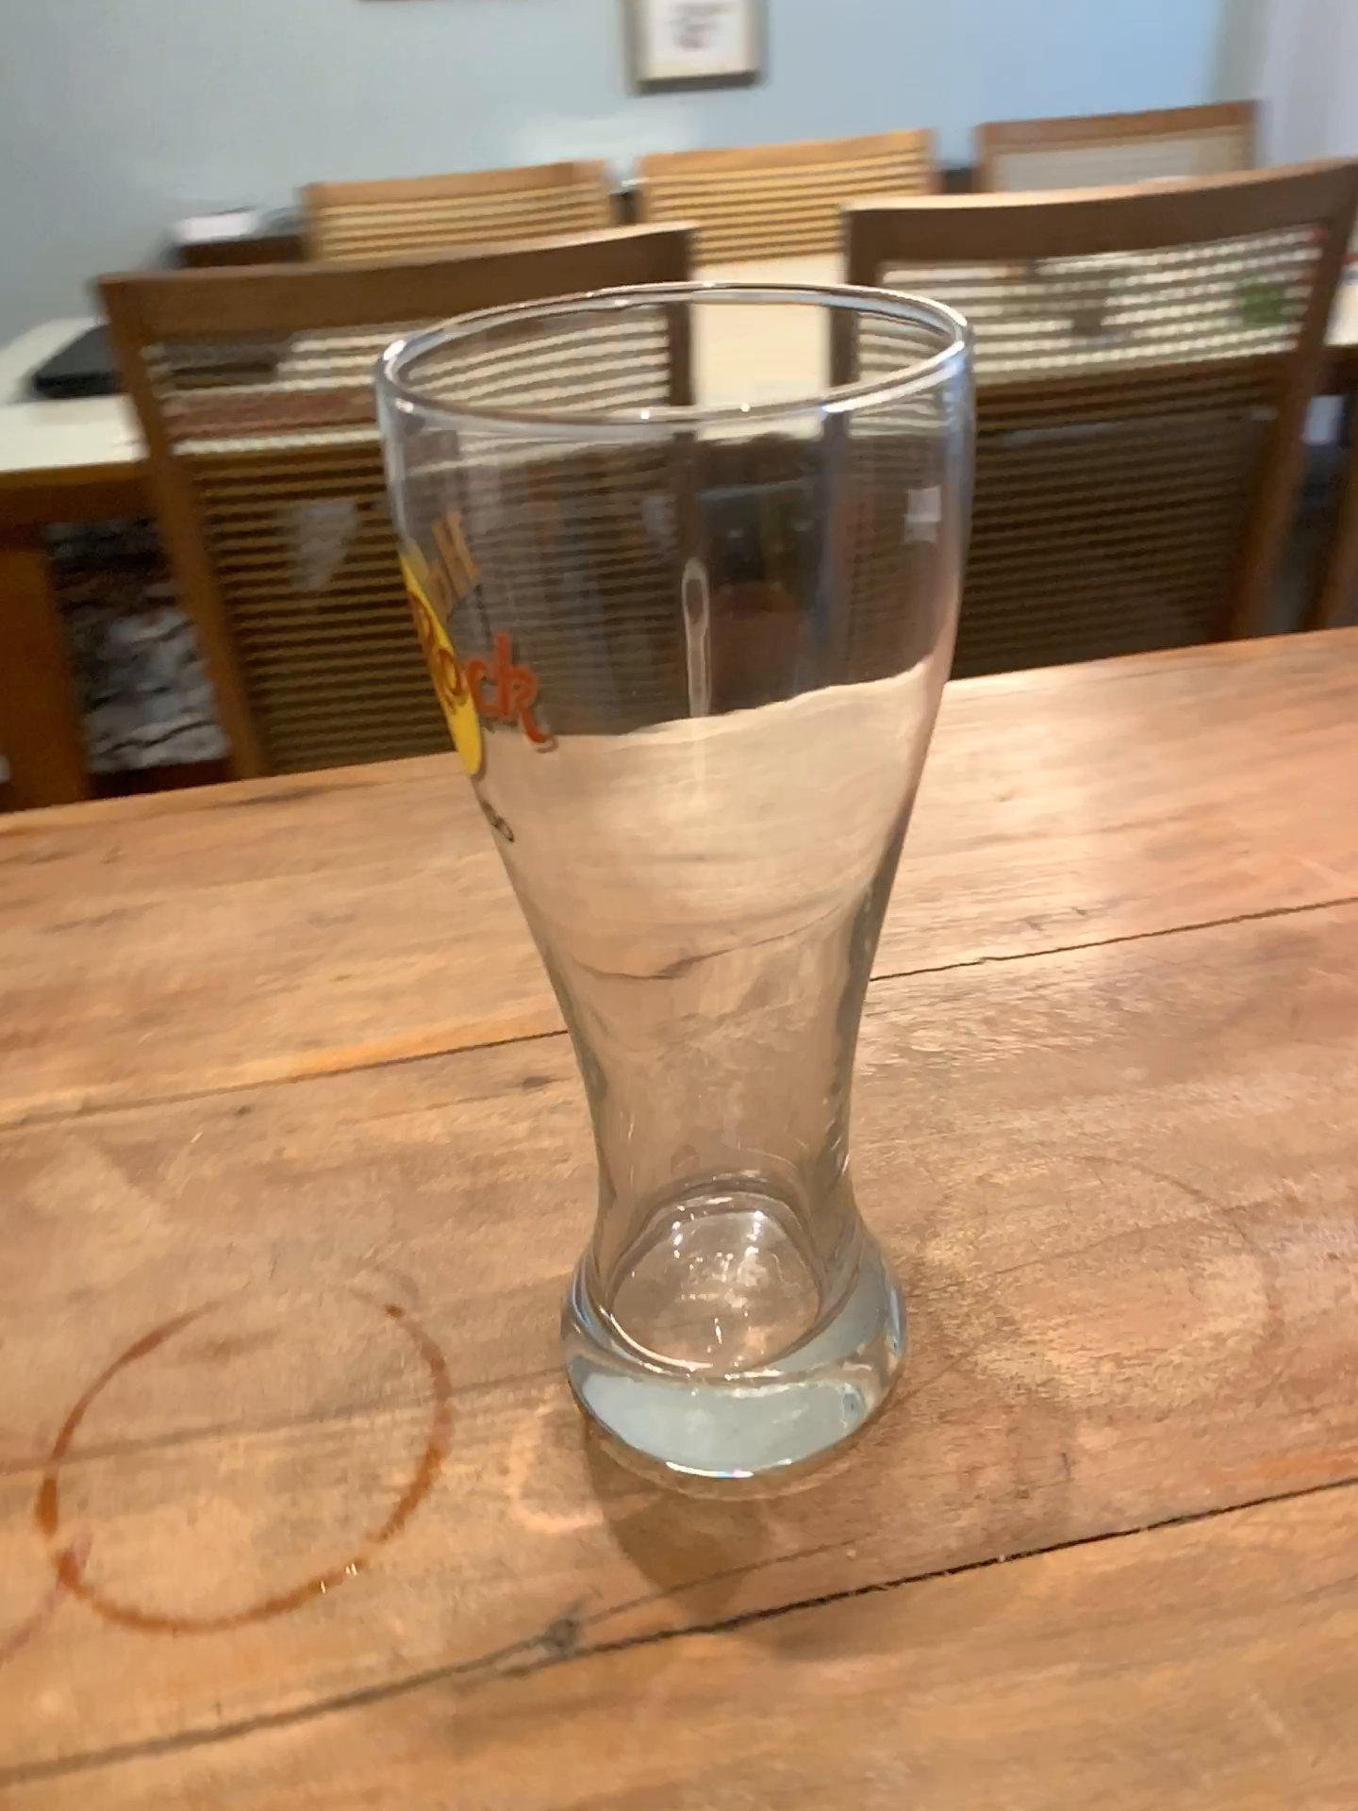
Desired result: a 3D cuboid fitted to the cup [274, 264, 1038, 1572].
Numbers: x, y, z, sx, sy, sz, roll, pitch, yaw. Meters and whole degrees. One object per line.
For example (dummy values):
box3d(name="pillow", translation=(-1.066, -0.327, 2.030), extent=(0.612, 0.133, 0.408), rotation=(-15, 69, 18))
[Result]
box3d(name="cup", translation=(-0.001, 0.005, 0.252), extent=(0.090, 0.201, 0.091), rotation=(-5, 31, 3))
